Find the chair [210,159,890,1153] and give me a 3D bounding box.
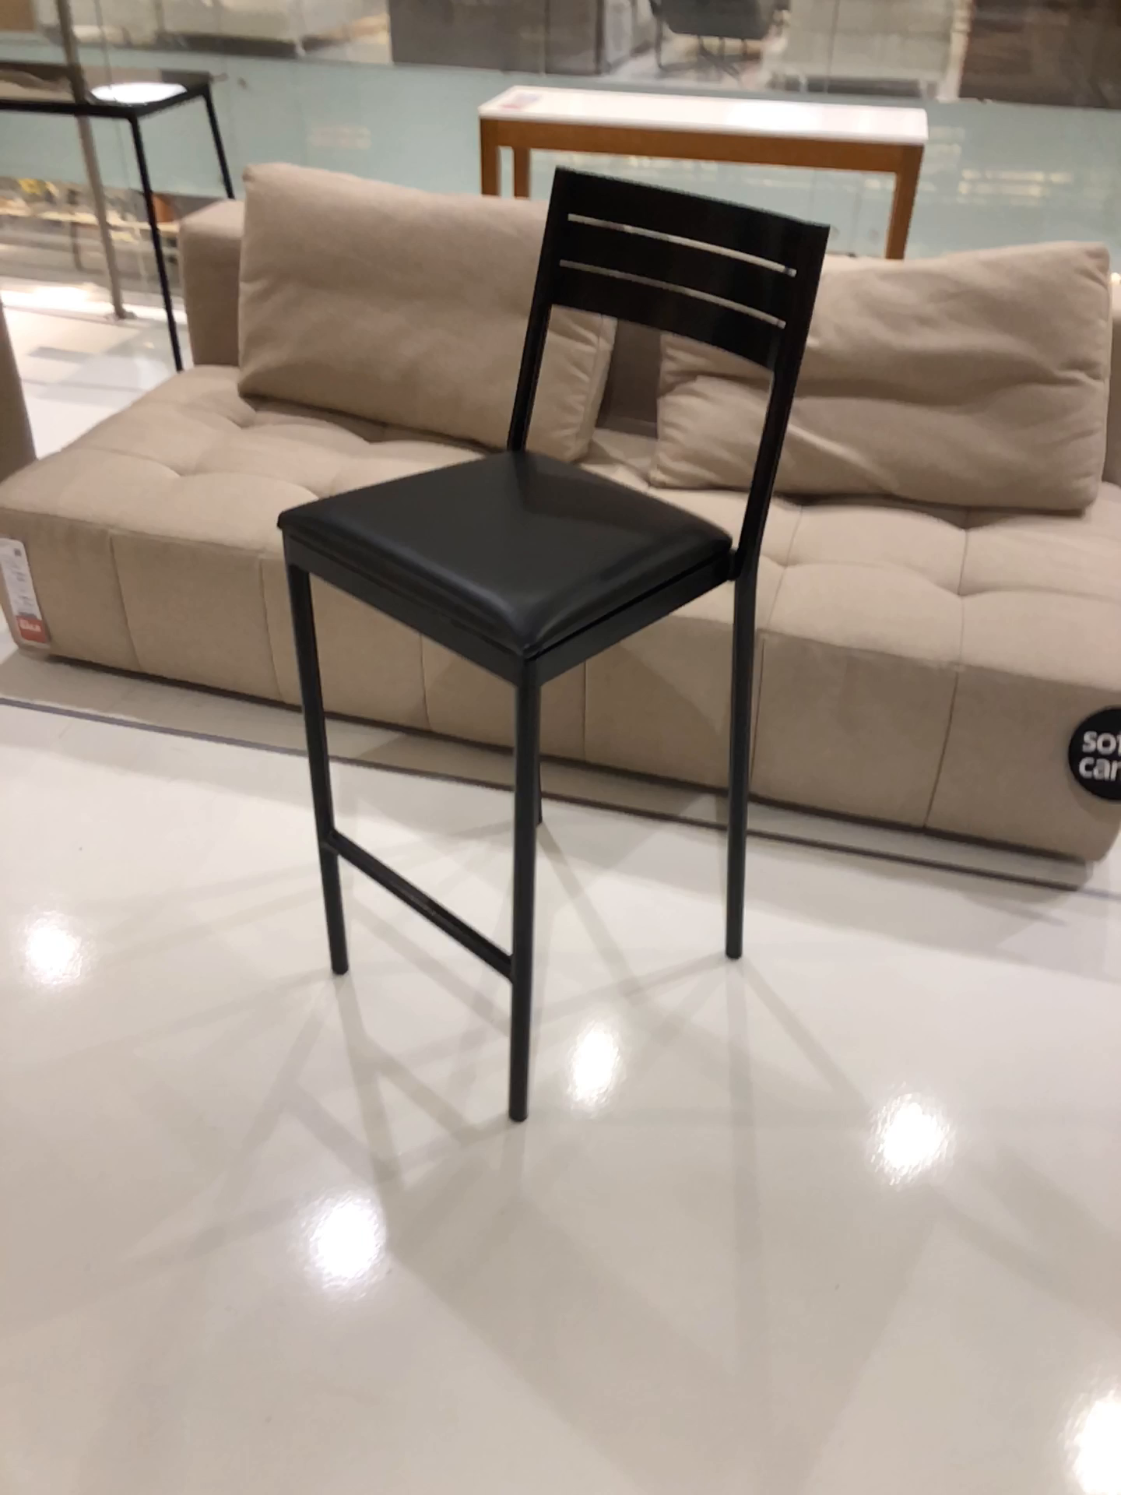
[{"bbox_3d":[-0.009,-0.098,1.409,0.422,0.942,0.472,29,44,33],"label":"chair"}]
